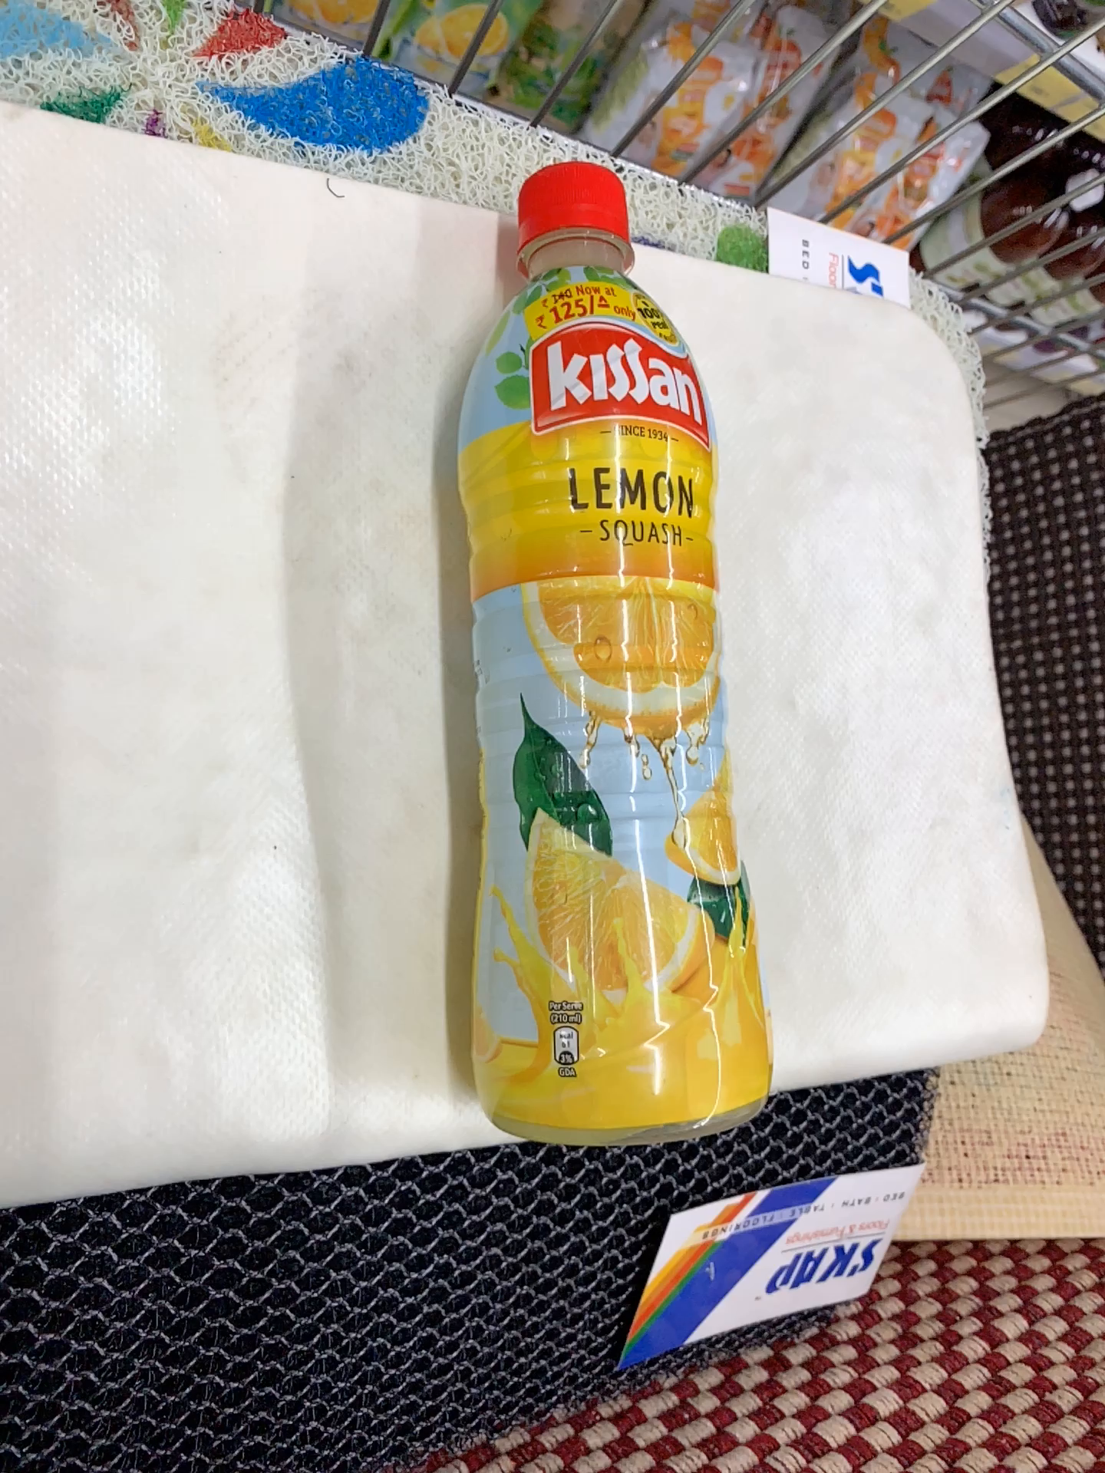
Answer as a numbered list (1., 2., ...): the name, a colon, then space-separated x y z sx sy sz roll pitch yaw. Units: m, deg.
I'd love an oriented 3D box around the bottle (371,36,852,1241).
1. bottle: 0.011 -0.019 0.267 0.080 0.070 0.230 1 86 -34
